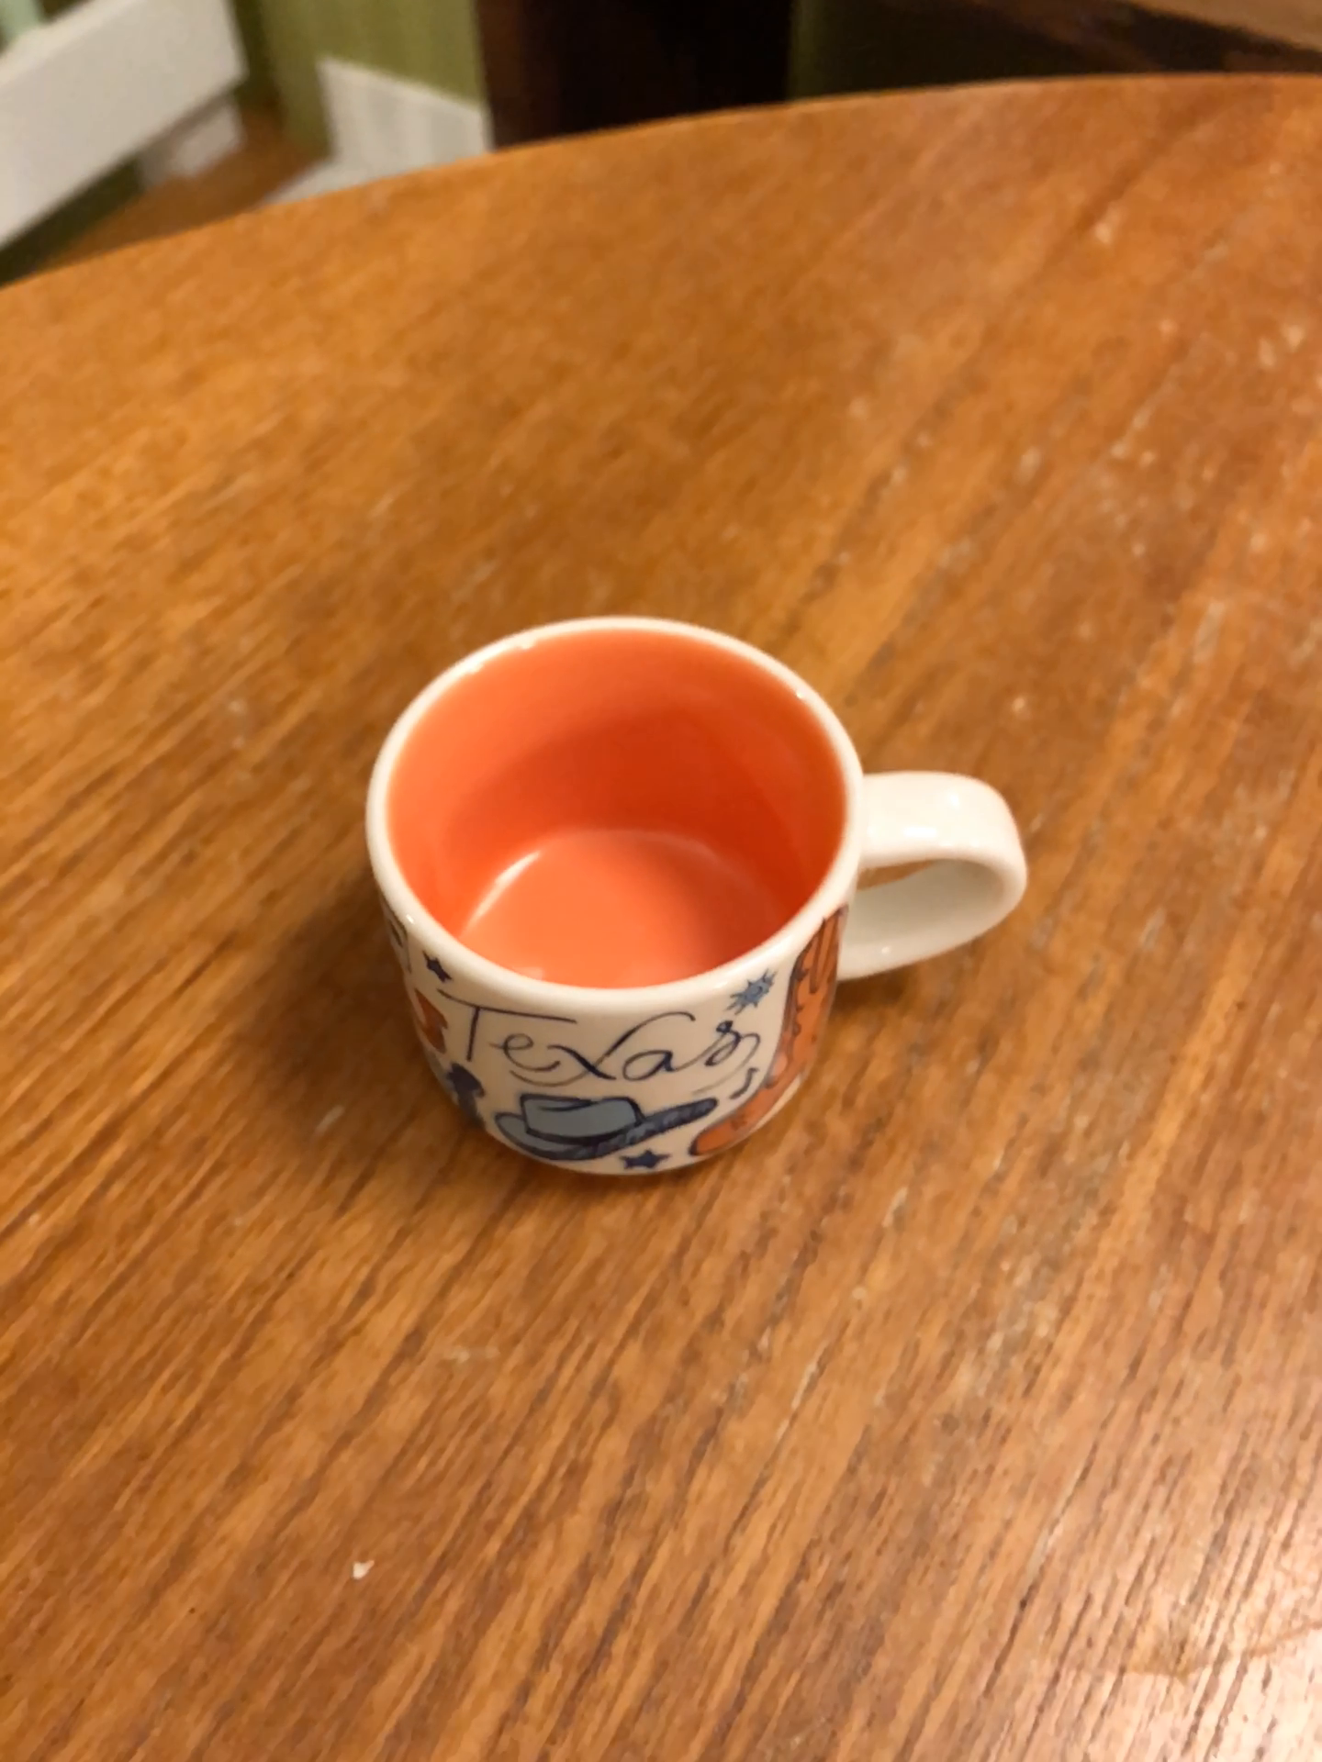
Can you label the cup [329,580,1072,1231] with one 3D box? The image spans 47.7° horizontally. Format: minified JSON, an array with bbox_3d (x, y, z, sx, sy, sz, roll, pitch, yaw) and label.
[{"bbox_3d":[0.002,0.003,0.190,0.076,0.046,0.064,-3,55,-2],"label":"cup"}]
